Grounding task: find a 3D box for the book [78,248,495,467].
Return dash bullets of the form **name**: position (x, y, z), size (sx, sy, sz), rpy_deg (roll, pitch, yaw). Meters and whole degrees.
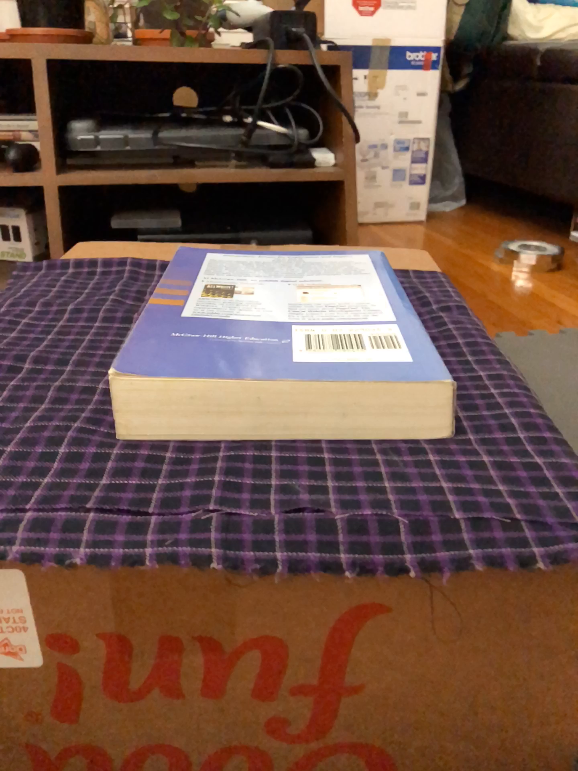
- **book**: position (-0.004, -0.035, 0.393), size (0.180, 0.040, 0.241), rpy_deg (0, 26, -2)
